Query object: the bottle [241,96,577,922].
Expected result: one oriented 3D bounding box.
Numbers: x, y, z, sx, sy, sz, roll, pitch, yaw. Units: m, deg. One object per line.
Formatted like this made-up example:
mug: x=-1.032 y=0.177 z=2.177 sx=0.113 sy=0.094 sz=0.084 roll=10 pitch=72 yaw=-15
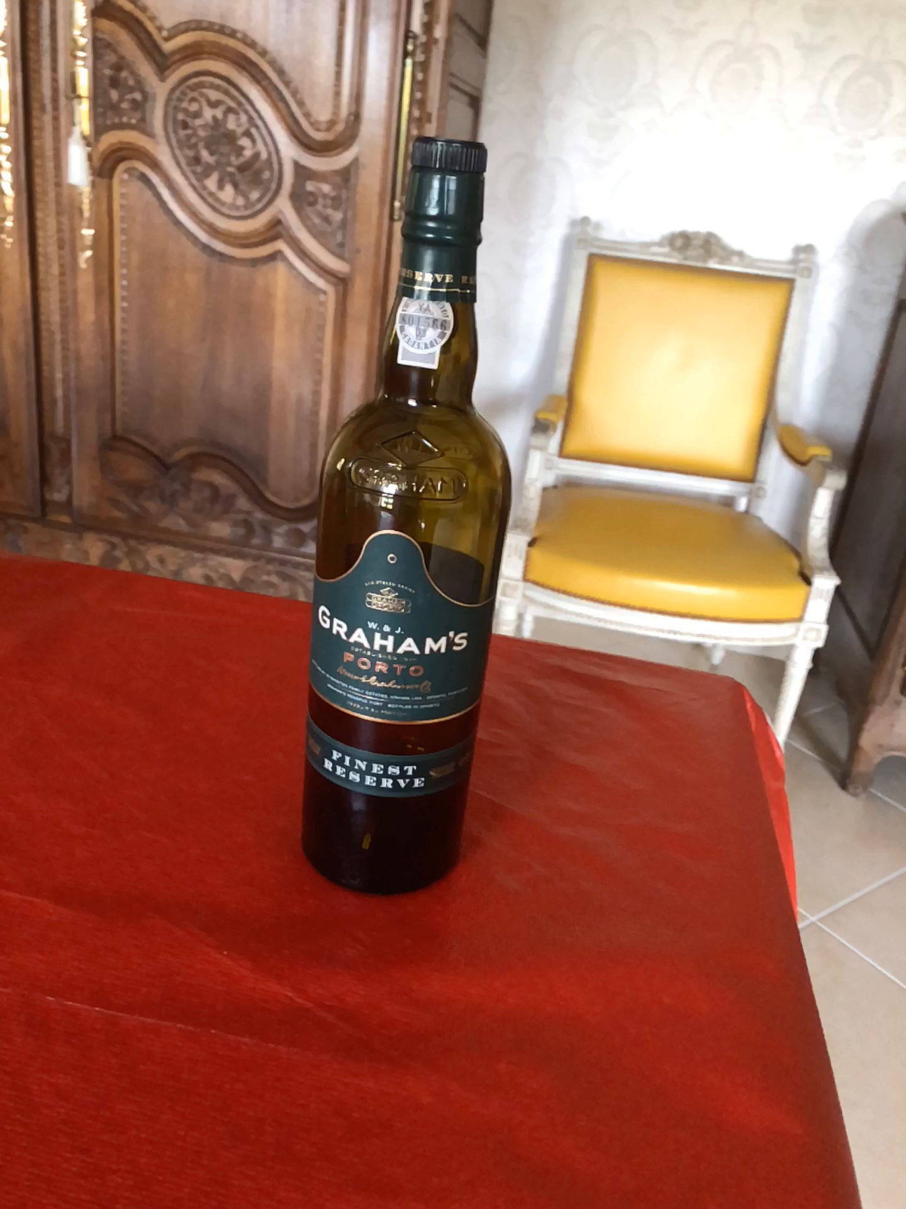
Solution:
bottle: x=-0.021 y=-0.030 z=0.402 sx=0.090 sy=0.298 sz=0.091 roll=6 pitch=23 yaw=-2
